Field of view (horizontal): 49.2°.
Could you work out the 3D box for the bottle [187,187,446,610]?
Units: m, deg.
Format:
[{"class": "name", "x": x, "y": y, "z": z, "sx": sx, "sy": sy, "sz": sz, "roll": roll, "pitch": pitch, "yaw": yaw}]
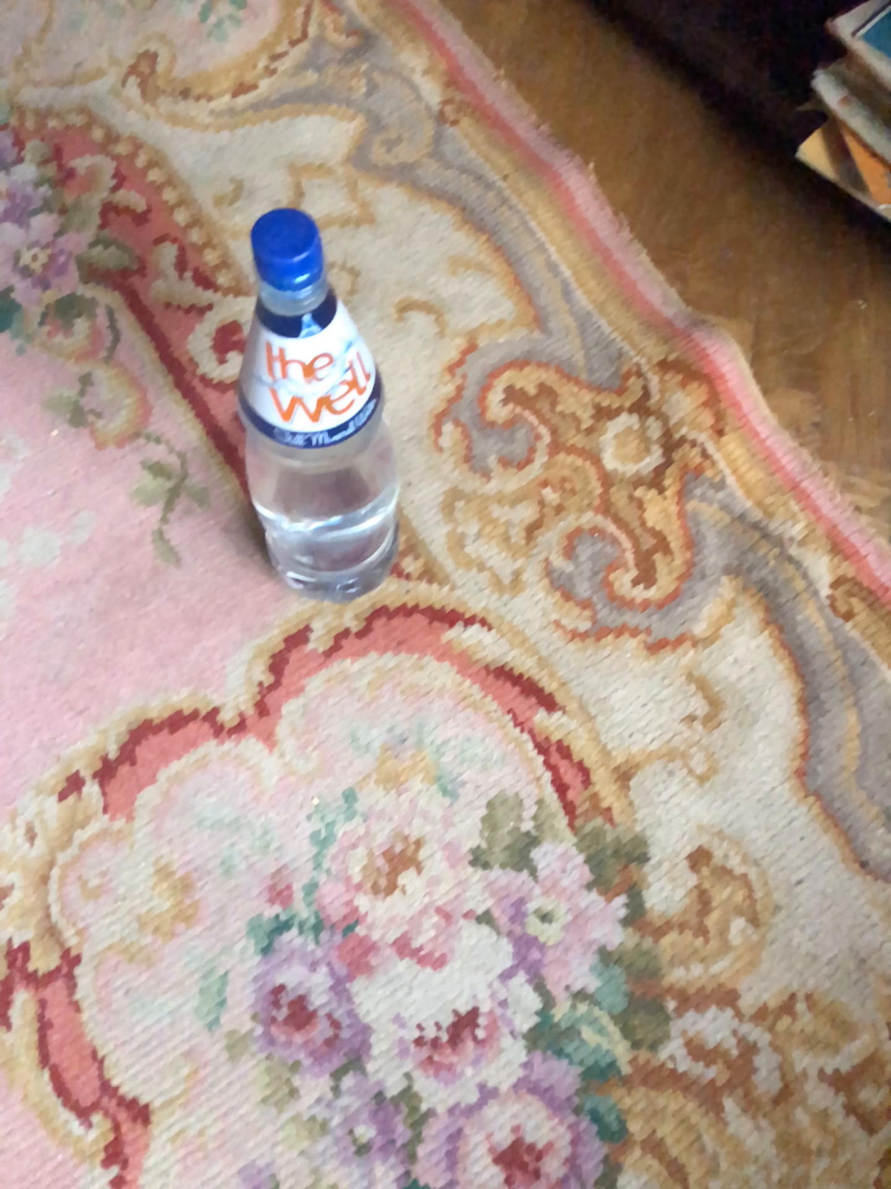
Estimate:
[{"class": "bottle", "x": -0.067, "y": -0.089, "z": 0.579, "sx": 0.110, "sy": 0.309, "sz": 0.100, "roll": 1, "pitch": 70, "yaw": -3}]
